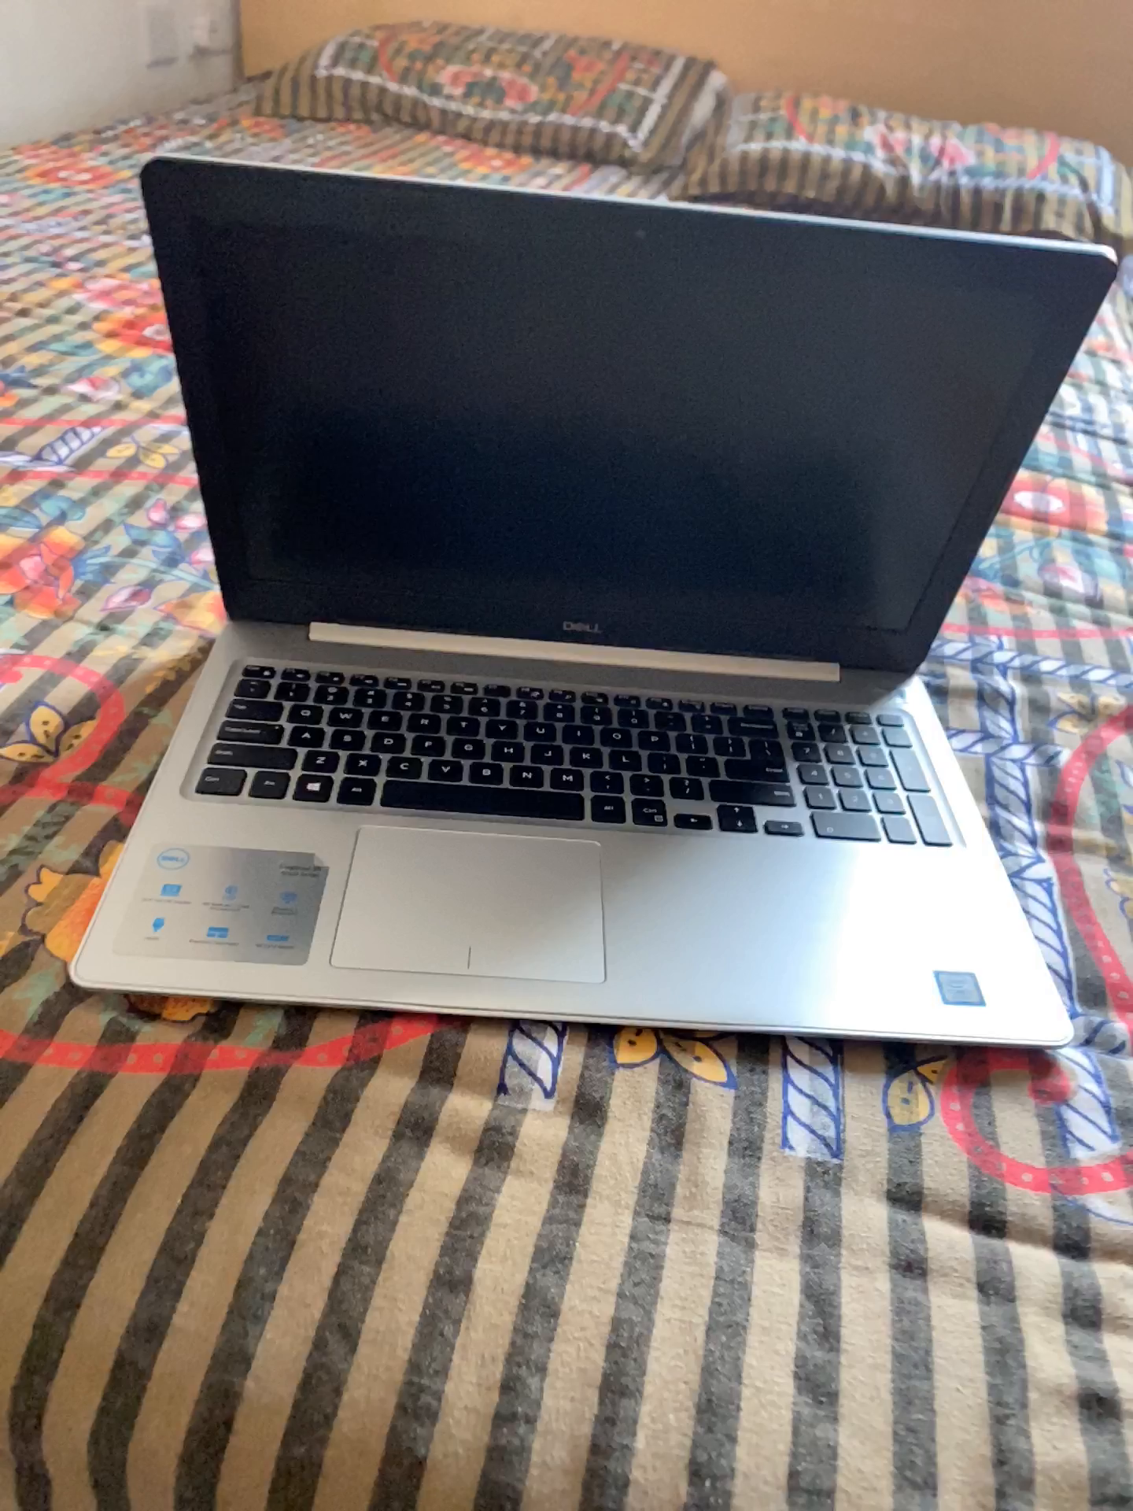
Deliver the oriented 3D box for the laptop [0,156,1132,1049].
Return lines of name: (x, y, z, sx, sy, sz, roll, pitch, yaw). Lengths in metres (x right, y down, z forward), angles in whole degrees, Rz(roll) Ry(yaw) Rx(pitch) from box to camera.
laptop: (0.015, -0.061, 0.449, 0.373, 0.231, 0.211, 5, 38, -3)
